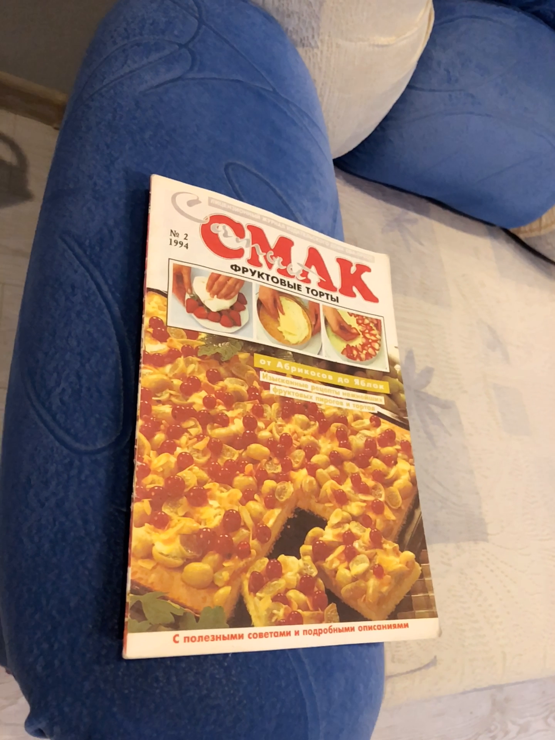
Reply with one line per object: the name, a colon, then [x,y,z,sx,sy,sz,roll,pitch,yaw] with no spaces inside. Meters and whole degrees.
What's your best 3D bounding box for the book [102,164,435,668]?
book: [0.004,0.019,0.322,0.172,0.010,0.236,11,66,-30]
